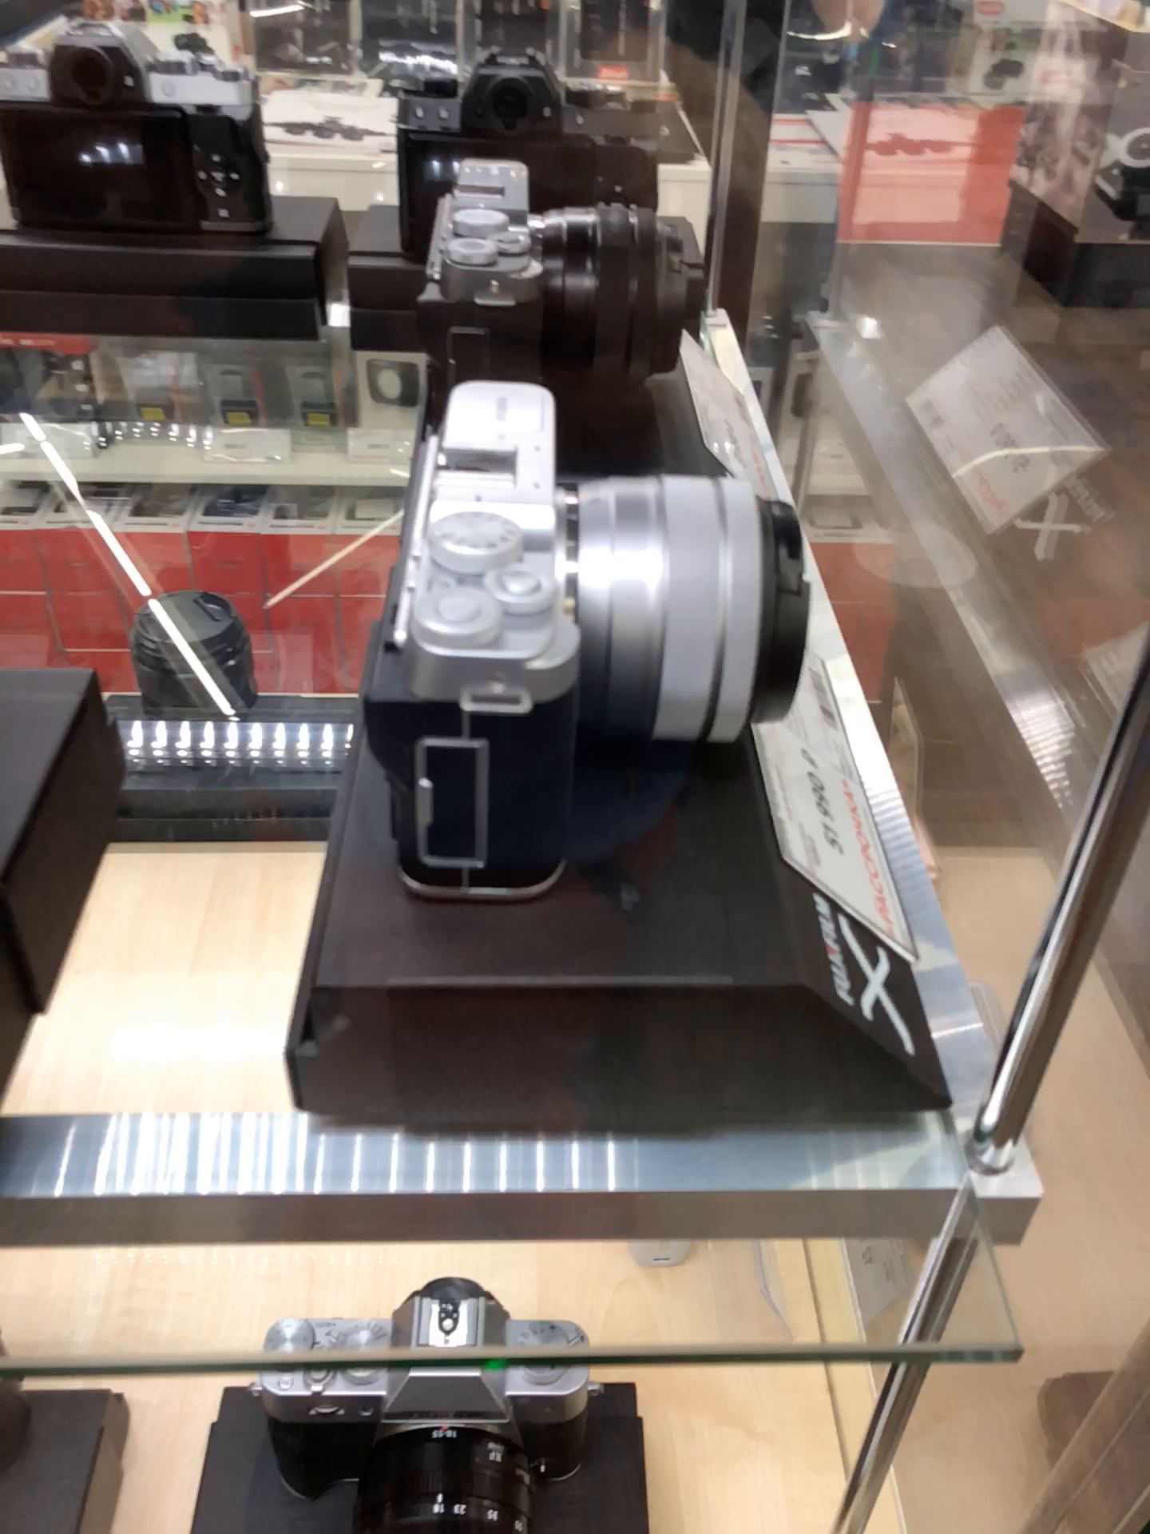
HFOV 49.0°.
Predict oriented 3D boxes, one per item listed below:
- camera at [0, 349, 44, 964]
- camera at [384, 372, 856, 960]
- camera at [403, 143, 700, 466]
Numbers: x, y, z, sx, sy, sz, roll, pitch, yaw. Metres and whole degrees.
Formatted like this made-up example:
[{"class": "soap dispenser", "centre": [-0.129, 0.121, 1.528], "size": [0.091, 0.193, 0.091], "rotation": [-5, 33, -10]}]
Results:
[{"class": "camera", "centre": [-0.187, -0.025, 0.251], "size": [0.115, 0.080, 0.097], "rotation": [0, 38, -4]}, {"class": "camera", "centre": [0.006, -0.030, 0.299], "size": [0.084, 0.080, 0.127], "rotation": [2, 38, -2]}, {"class": "camera", "centre": [-0.011, -0.177, 0.477], "size": [0.096, 0.080, 0.116], "rotation": [1, 38, -3]}]
